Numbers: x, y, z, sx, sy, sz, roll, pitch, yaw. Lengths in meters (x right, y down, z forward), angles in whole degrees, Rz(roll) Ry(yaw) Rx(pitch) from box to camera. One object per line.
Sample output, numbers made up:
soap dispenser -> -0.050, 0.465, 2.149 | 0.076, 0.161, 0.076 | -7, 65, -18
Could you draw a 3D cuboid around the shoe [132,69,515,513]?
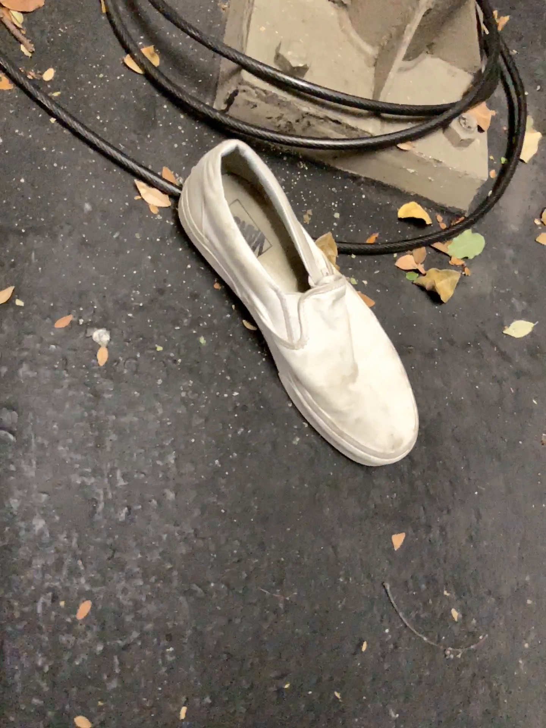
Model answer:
shoe -> 0.034, -0.053, 0.472 | 0.120, 0.100, 0.310 | -32, 89, -30
